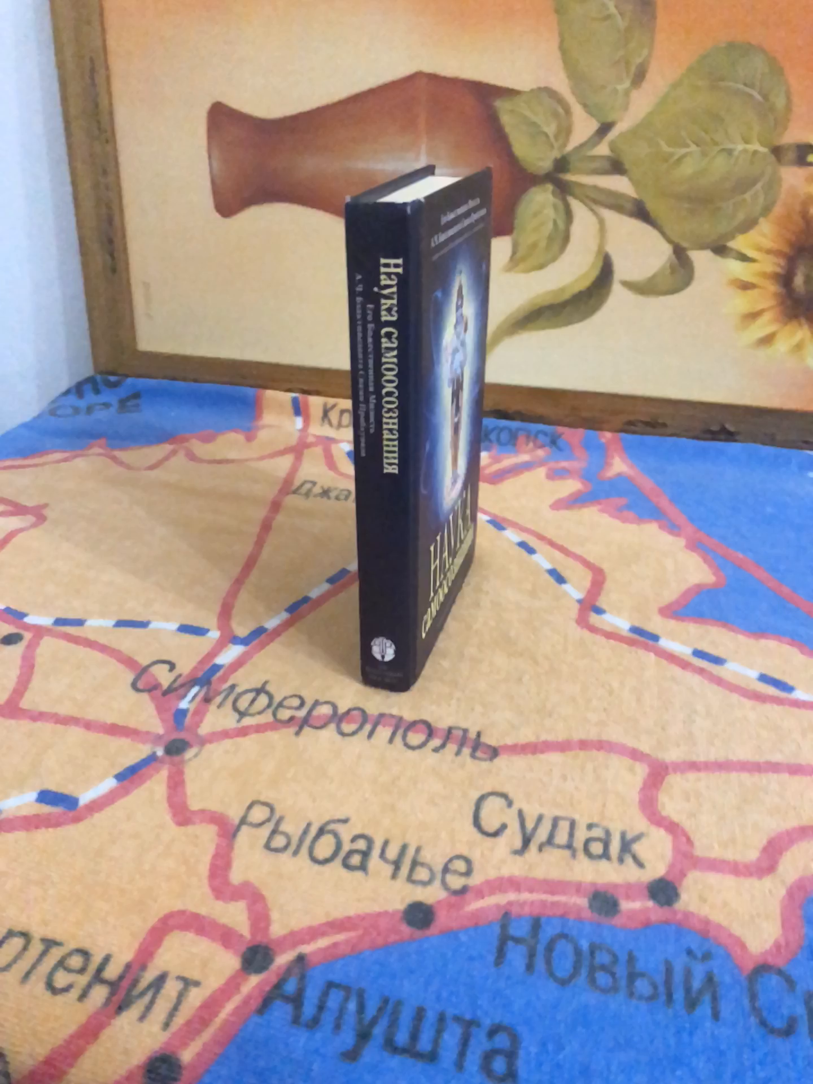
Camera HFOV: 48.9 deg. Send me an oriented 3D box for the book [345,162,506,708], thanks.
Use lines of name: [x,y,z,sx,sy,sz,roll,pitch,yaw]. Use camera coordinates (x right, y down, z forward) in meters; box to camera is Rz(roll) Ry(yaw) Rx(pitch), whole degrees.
book: [0.012,-0.053,0.404,0.030,0.206,0.141,8,29,13]
